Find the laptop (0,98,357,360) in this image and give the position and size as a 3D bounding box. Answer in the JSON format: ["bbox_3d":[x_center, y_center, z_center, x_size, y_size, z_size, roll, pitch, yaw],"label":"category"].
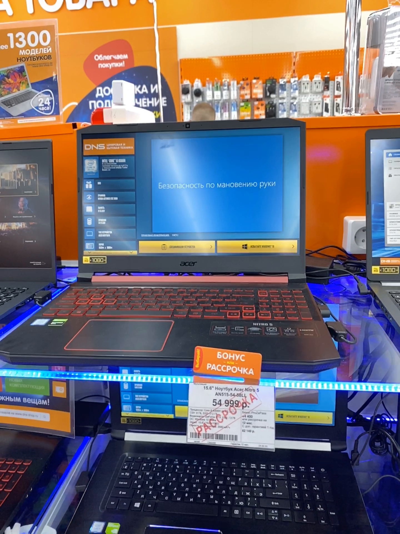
[{"bbox_3d":[-0.030,-0.065,0.530,0.360,0.237,0.303,0,15,5],"label":"laptop"}]
